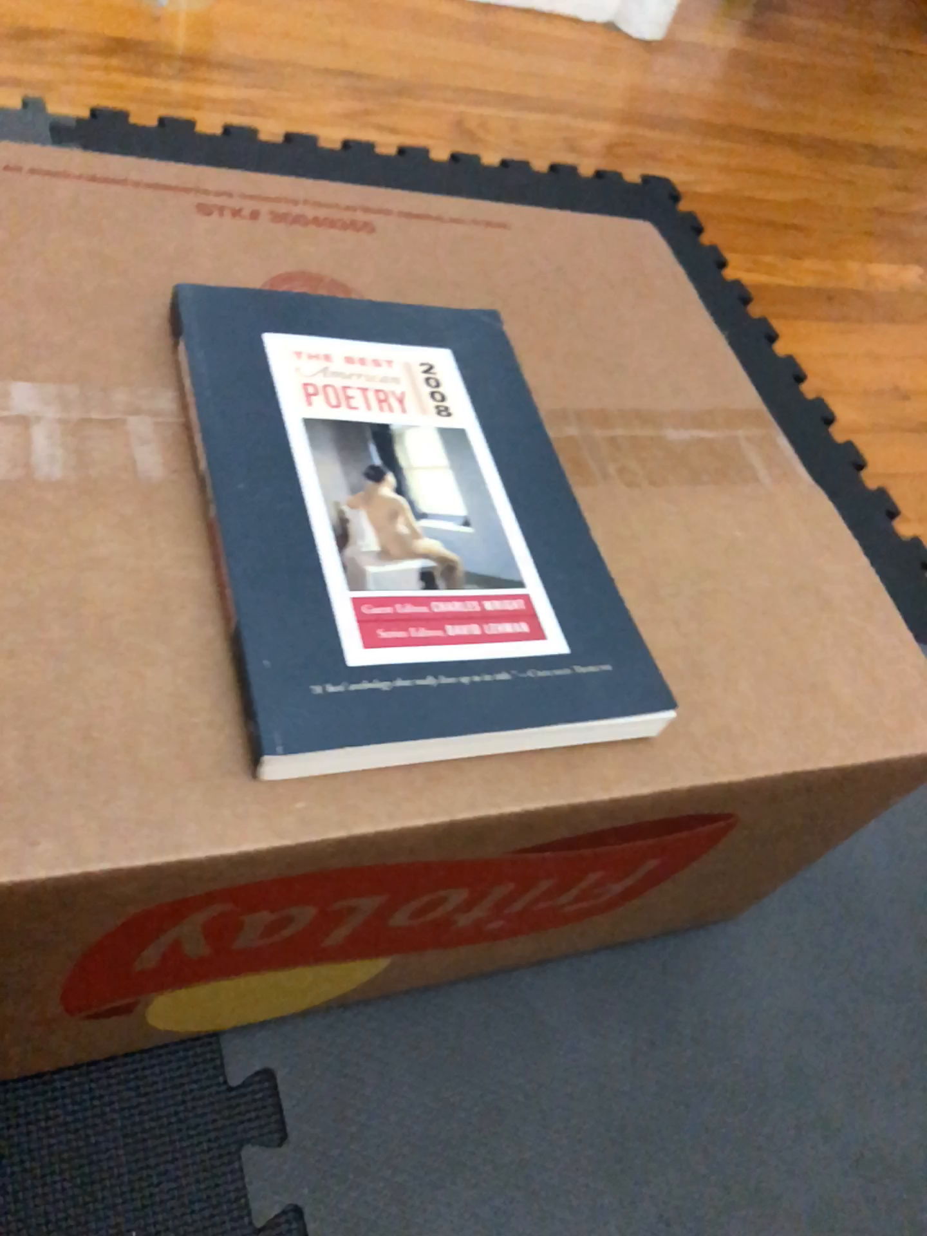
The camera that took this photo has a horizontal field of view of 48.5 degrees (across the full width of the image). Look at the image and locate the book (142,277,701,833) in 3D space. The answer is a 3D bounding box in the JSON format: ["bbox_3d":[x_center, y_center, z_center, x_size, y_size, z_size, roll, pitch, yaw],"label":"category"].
[{"bbox_3d":[-0.026,-0.041,0.380,0.150,0.020,0.231,-4,55,-24],"label":"book"}]
